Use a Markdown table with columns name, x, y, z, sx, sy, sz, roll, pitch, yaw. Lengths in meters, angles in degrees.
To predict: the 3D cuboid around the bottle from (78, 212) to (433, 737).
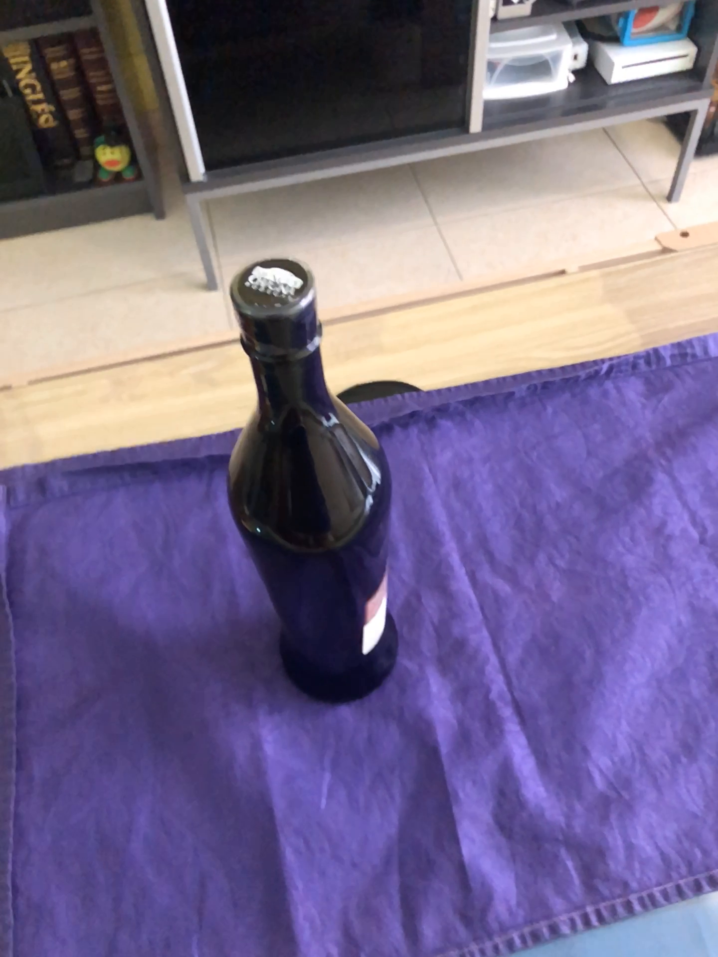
| name | x | y | z | sx | sy | sz | roll | pitch | yaw |
| --- | --- | --- | --- | --- | --- | --- | --- | --- | --- |
| bottle | -0.023 | 0.024 | 0.385 | 0.100 | 0.279 | 0.100 | -2 | 55 | 3 |
